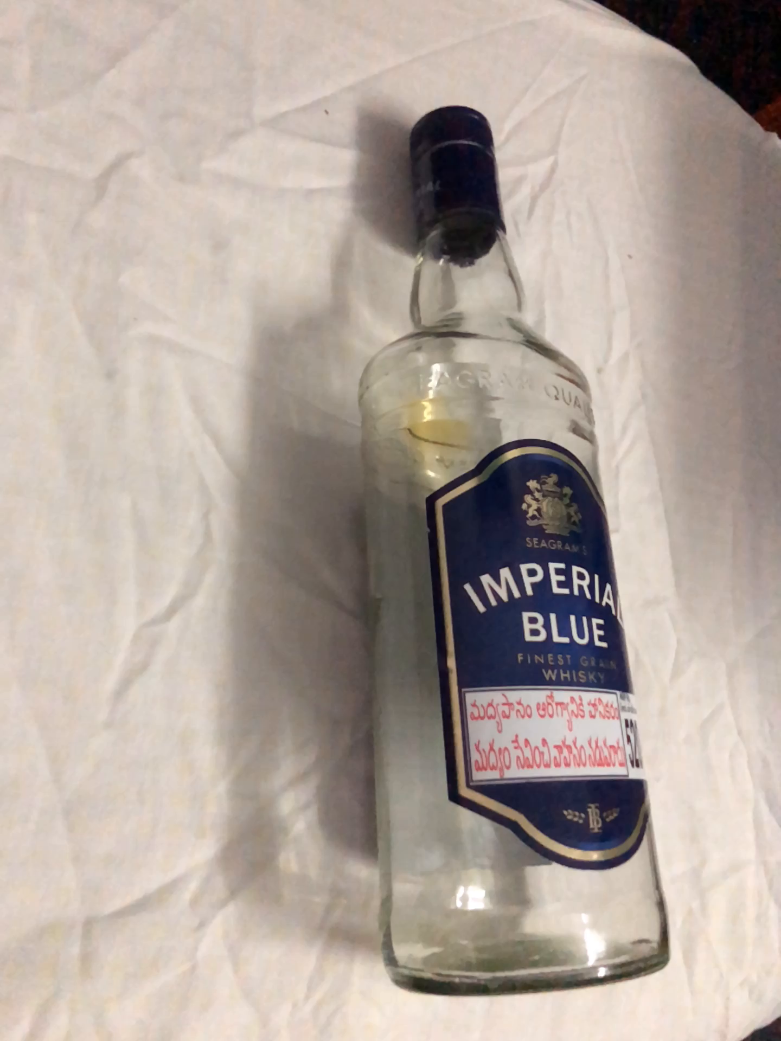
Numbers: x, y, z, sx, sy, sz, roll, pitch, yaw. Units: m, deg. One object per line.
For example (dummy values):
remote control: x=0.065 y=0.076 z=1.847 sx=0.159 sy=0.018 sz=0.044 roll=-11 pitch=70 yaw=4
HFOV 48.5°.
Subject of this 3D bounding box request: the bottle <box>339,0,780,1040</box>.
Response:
bottle: x=0.047 y=-0.002 z=0.253 sx=0.090 sy=0.080 sz=0.270 roll=8 pitch=75 yaw=-27
